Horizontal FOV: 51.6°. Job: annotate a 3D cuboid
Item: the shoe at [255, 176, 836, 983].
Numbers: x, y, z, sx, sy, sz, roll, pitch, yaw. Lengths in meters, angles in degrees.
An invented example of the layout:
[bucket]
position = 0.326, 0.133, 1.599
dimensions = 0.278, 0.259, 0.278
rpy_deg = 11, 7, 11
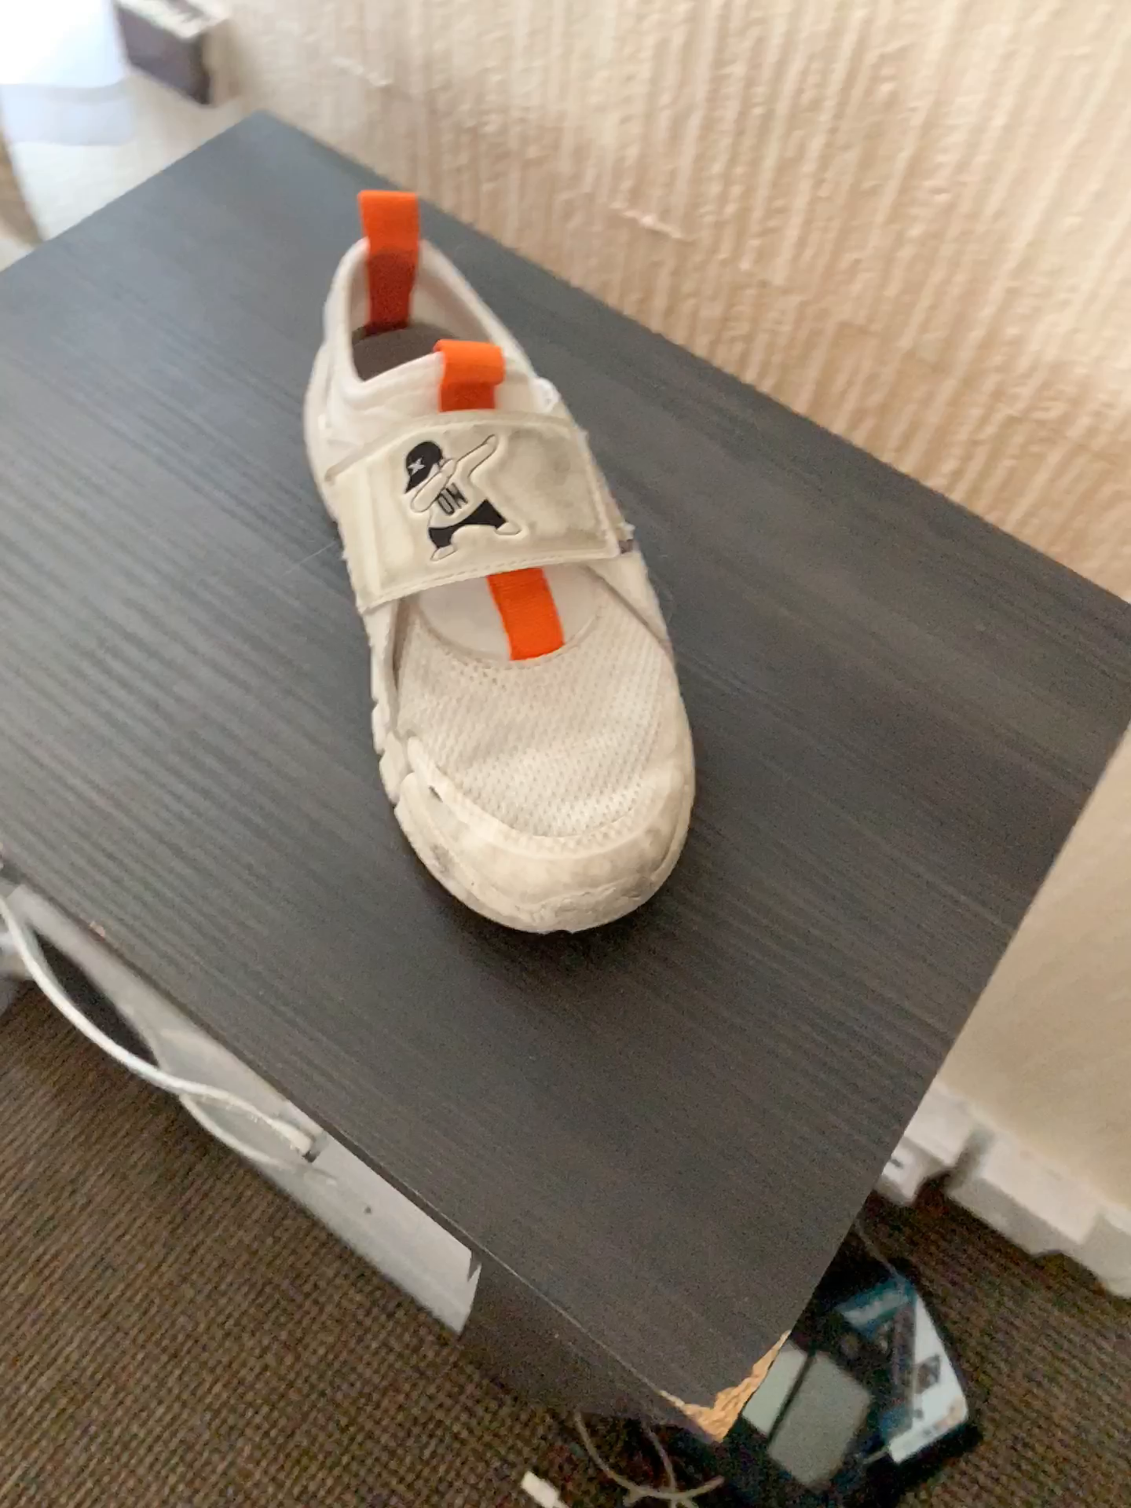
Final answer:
[shoe]
position = -0.018, -0.061, 0.339
dimensions = 0.100, 0.070, 0.223
rpy_deg = -11, 62, -12
